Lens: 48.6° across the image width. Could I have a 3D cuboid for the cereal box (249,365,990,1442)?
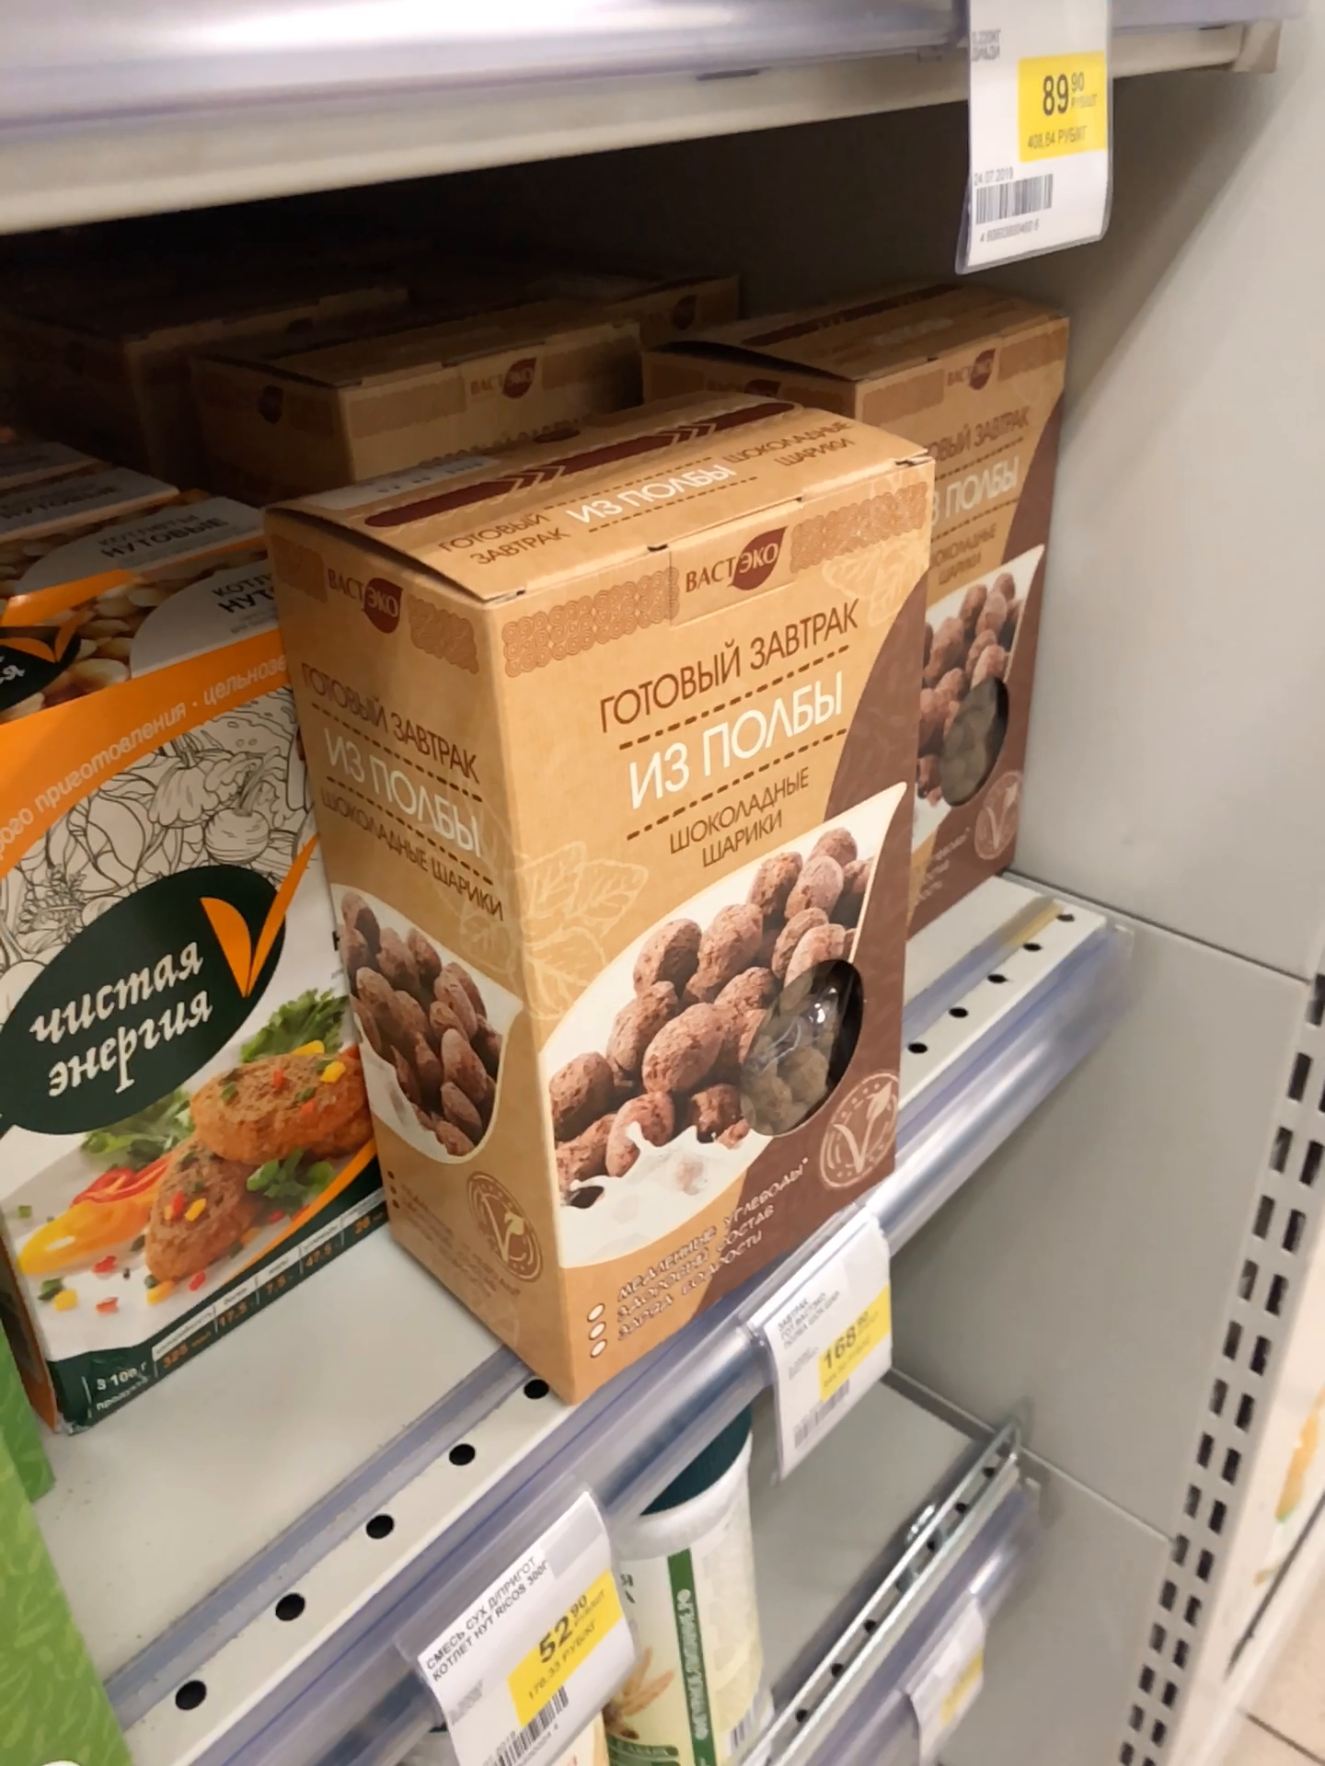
[{"bbox_3d":[-0.002,0.001,0.350,0.130,0.209,0.080,-26,37,-35],"label":"cereal box"}]
